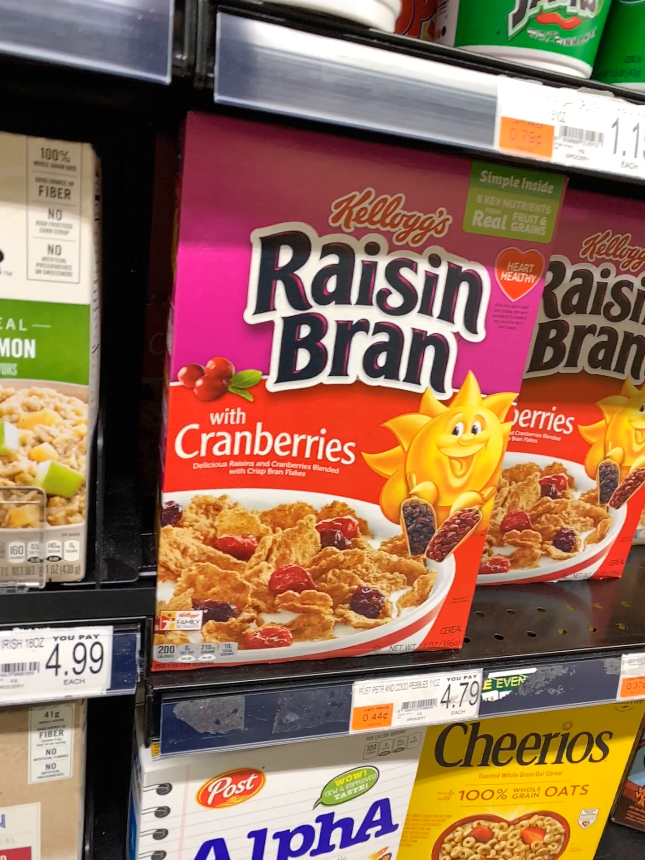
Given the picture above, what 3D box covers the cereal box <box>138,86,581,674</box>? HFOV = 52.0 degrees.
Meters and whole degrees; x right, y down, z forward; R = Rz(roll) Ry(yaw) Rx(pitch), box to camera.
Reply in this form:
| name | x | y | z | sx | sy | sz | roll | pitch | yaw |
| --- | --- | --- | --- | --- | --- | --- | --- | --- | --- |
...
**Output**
| name | x | y | z | sx | sy | sz | roll | pitch | yaw |
| --- | --- | --- | --- | --- | --- | --- | --- | --- | --- |
| cereal box | 0.007 | -0.011 | 0.371 | 0.200 | 0.289 | 0.060 | 2 | 18 | -17 |
